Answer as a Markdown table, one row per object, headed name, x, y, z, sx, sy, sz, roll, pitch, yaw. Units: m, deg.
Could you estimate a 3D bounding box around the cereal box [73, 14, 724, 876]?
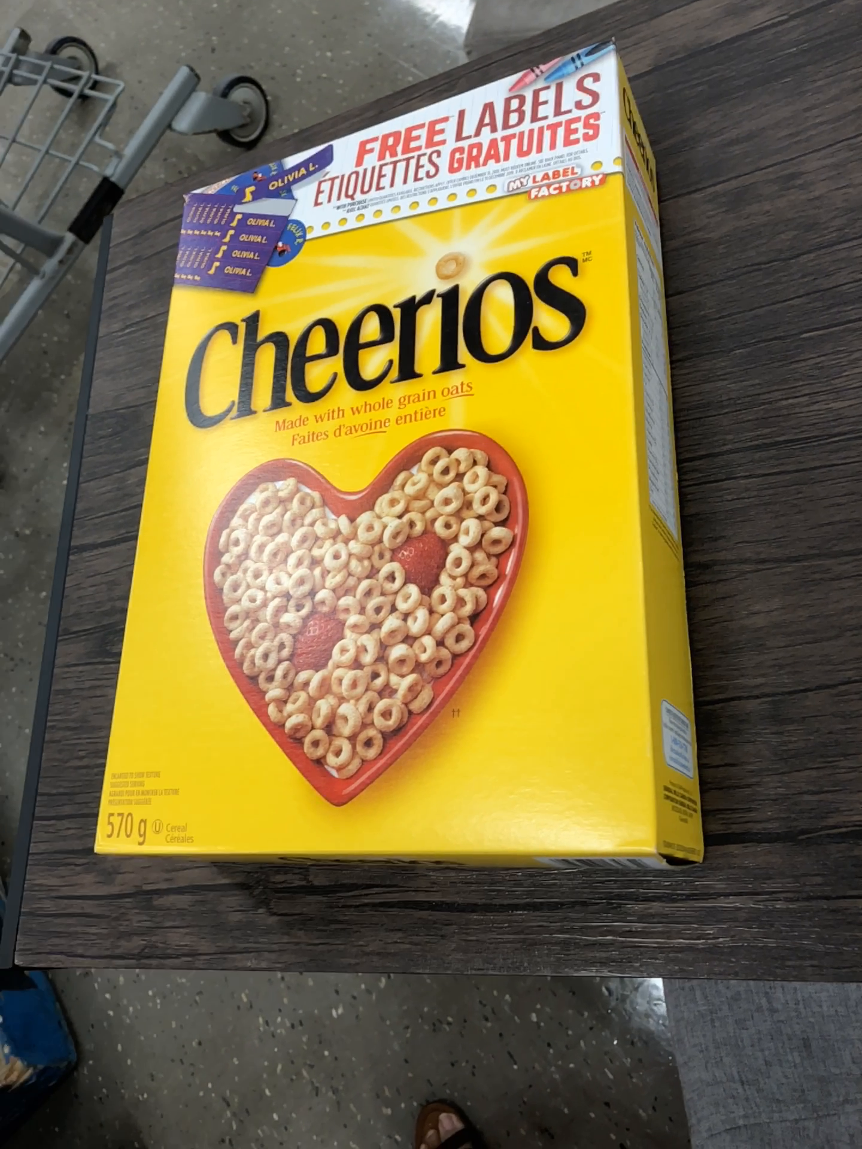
| name | x | y | z | sx | sy | sz | roll | pitch | yaw |
| --- | --- | --- | --- | --- | --- | --- | --- | --- | --- |
| cereal box | -0.013 | -0.043 | 0.435 | 0.241 | 0.100 | 0.340 | -8 | 69 | 25 |
